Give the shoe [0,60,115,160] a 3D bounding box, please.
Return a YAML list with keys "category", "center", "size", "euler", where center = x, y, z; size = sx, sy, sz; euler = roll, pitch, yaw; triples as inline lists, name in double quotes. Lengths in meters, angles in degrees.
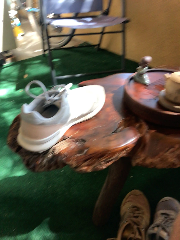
- category: "shoe"
  center: [-0.063, -0.041, 0.469]
  size: [0.102, 0.091, 0.265]
  euler: [31, 52, 31]
